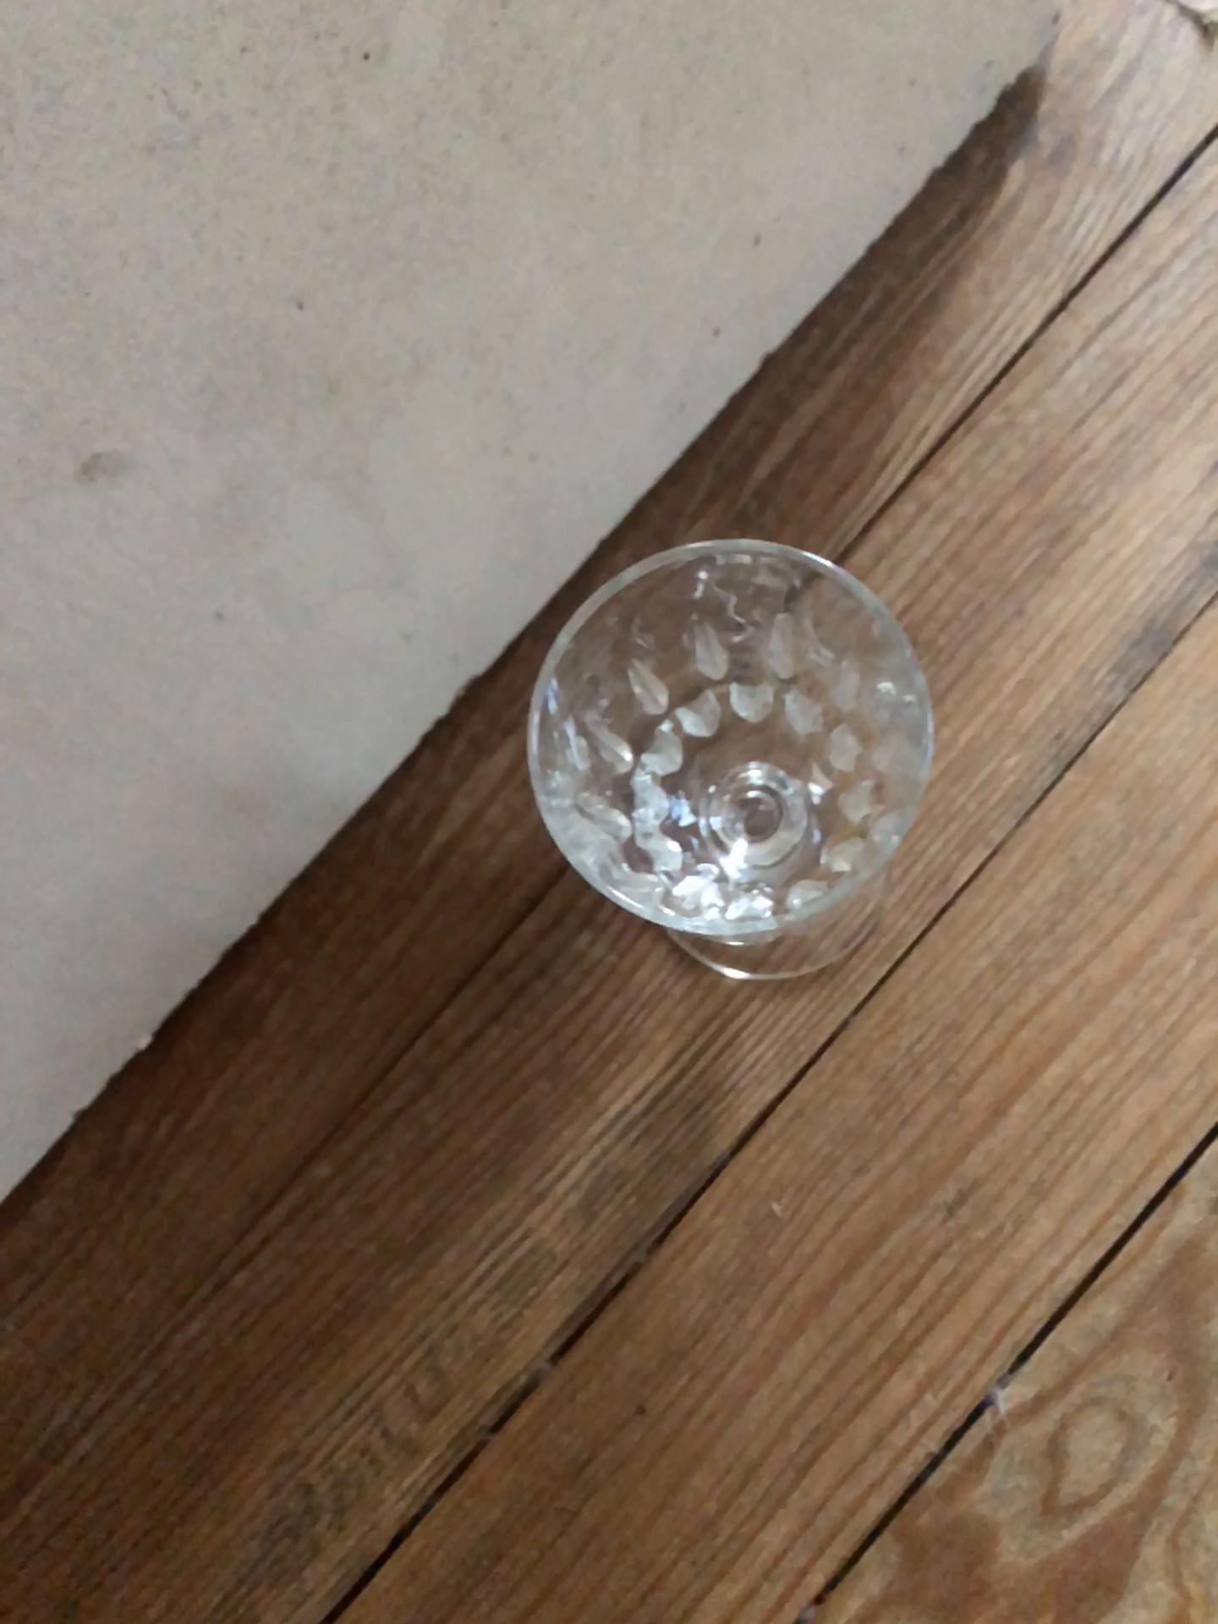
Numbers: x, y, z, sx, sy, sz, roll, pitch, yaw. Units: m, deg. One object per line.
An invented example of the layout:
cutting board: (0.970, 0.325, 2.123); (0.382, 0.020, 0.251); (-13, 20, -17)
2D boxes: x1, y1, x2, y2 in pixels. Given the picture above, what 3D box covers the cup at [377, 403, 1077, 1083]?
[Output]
cup: (0.024, -0.001, 0.249); (0.070, 0.120, 0.070); (-2, 78, 8)
